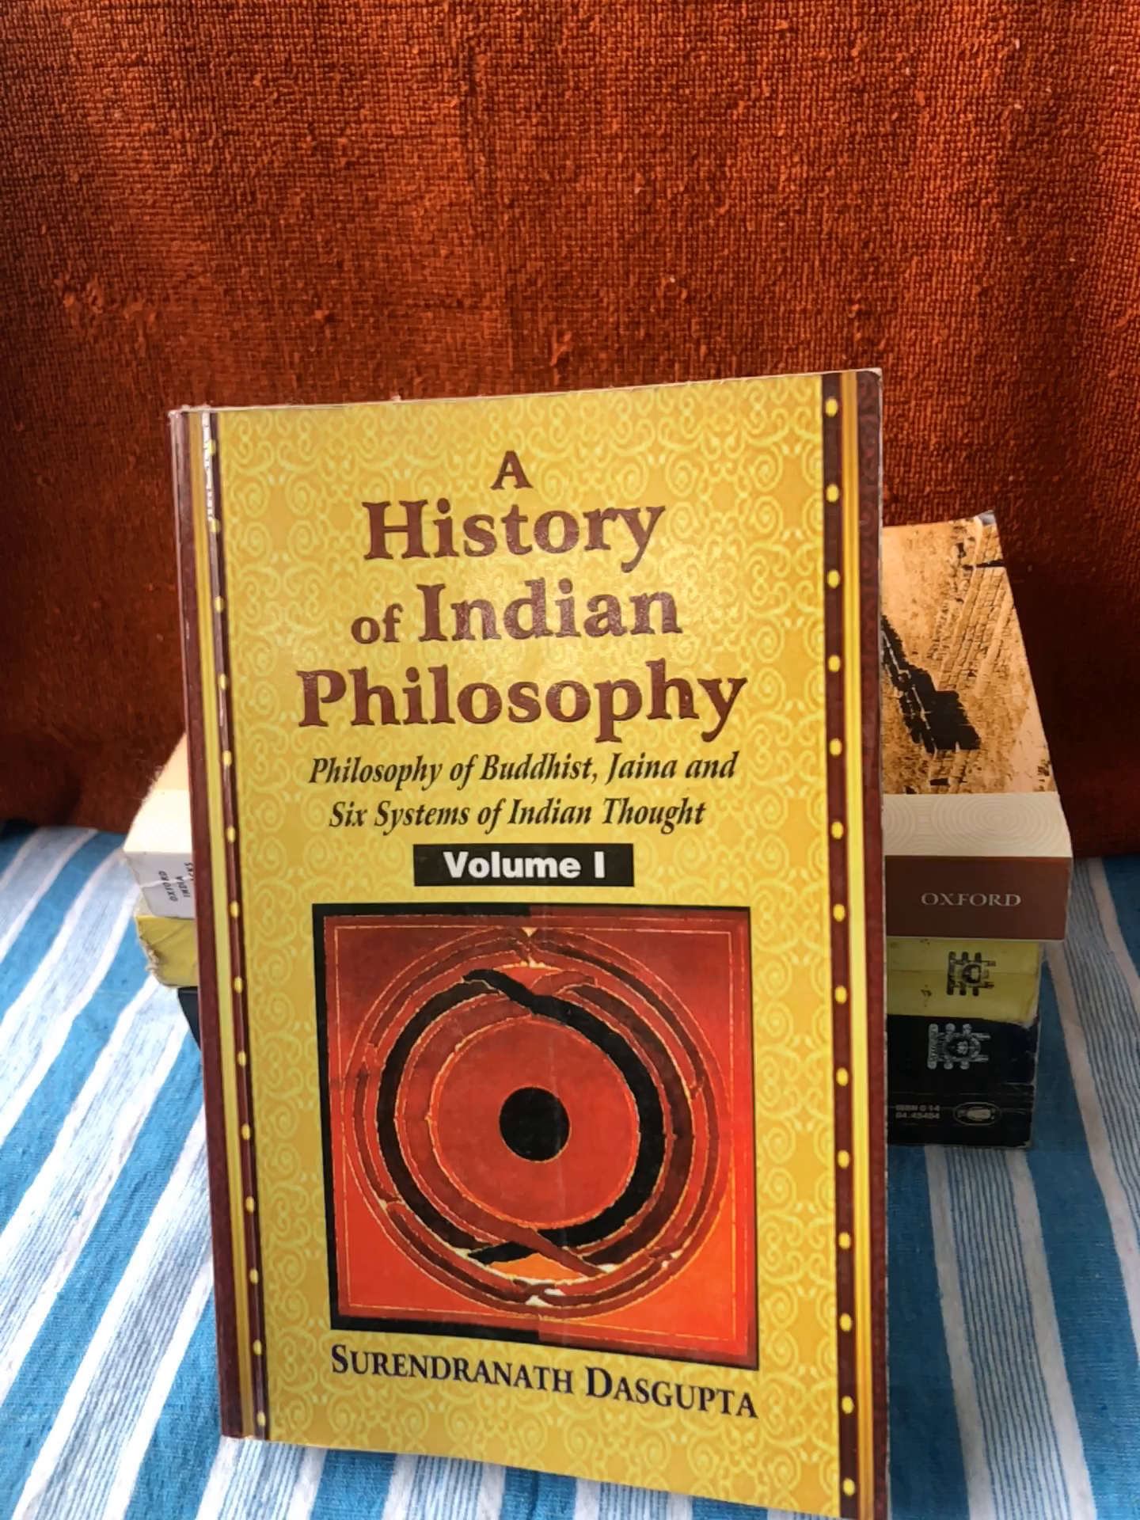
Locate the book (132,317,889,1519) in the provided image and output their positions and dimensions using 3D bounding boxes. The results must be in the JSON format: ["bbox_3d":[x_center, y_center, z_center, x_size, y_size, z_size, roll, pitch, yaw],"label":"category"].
[{"bbox_3d":[-0.008,0.032,0.262,0.141,0.216,0.048,-1,4,14],"label":"book"}]
